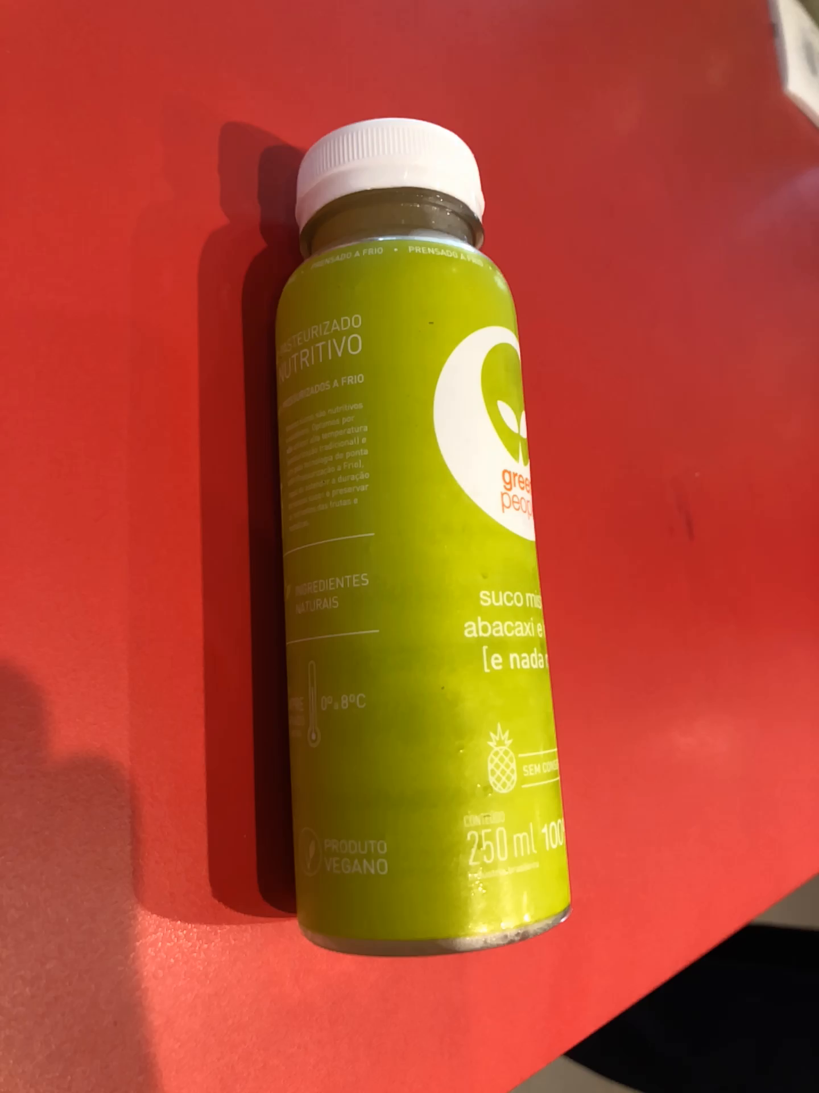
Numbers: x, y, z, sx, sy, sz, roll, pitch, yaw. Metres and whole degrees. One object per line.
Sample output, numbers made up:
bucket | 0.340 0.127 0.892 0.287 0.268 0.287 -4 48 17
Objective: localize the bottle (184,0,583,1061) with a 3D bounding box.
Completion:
bottle | -0.003 -0.008 0.177 0.060 0.050 0.170 9 79 -62
